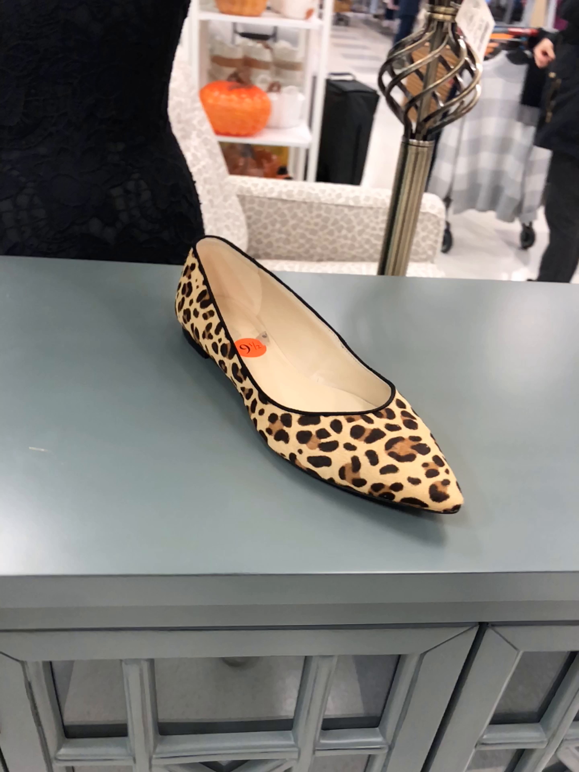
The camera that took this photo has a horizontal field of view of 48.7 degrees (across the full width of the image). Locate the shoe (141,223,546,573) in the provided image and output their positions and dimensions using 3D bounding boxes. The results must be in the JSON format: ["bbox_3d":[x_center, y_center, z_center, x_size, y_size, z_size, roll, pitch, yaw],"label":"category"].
[{"bbox_3d":[0.010,-0.019,0.424,0.097,0.073,0.286,-18,41,-32],"label":"shoe"}]
